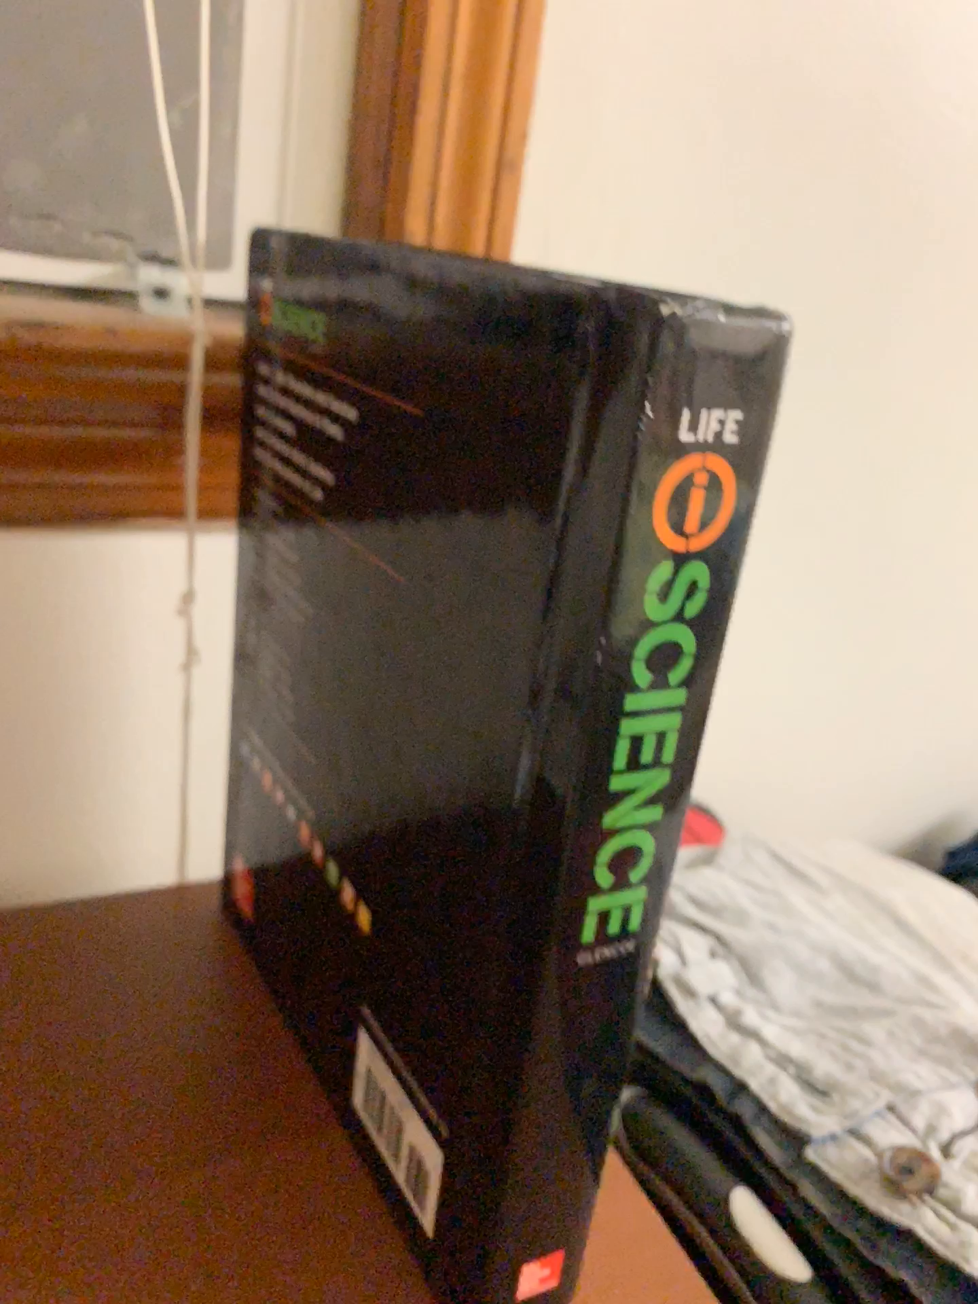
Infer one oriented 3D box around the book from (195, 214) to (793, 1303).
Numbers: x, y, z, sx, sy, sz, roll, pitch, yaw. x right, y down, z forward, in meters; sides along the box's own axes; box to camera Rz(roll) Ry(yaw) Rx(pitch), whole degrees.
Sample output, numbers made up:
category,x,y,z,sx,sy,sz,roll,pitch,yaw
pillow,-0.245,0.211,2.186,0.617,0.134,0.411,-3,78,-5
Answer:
category,x,y,z,sx,sy,sz,roll,pitch,yaw
book,-0.035,0.020,0.333,0.051,0.286,0.227,-4,24,-30
